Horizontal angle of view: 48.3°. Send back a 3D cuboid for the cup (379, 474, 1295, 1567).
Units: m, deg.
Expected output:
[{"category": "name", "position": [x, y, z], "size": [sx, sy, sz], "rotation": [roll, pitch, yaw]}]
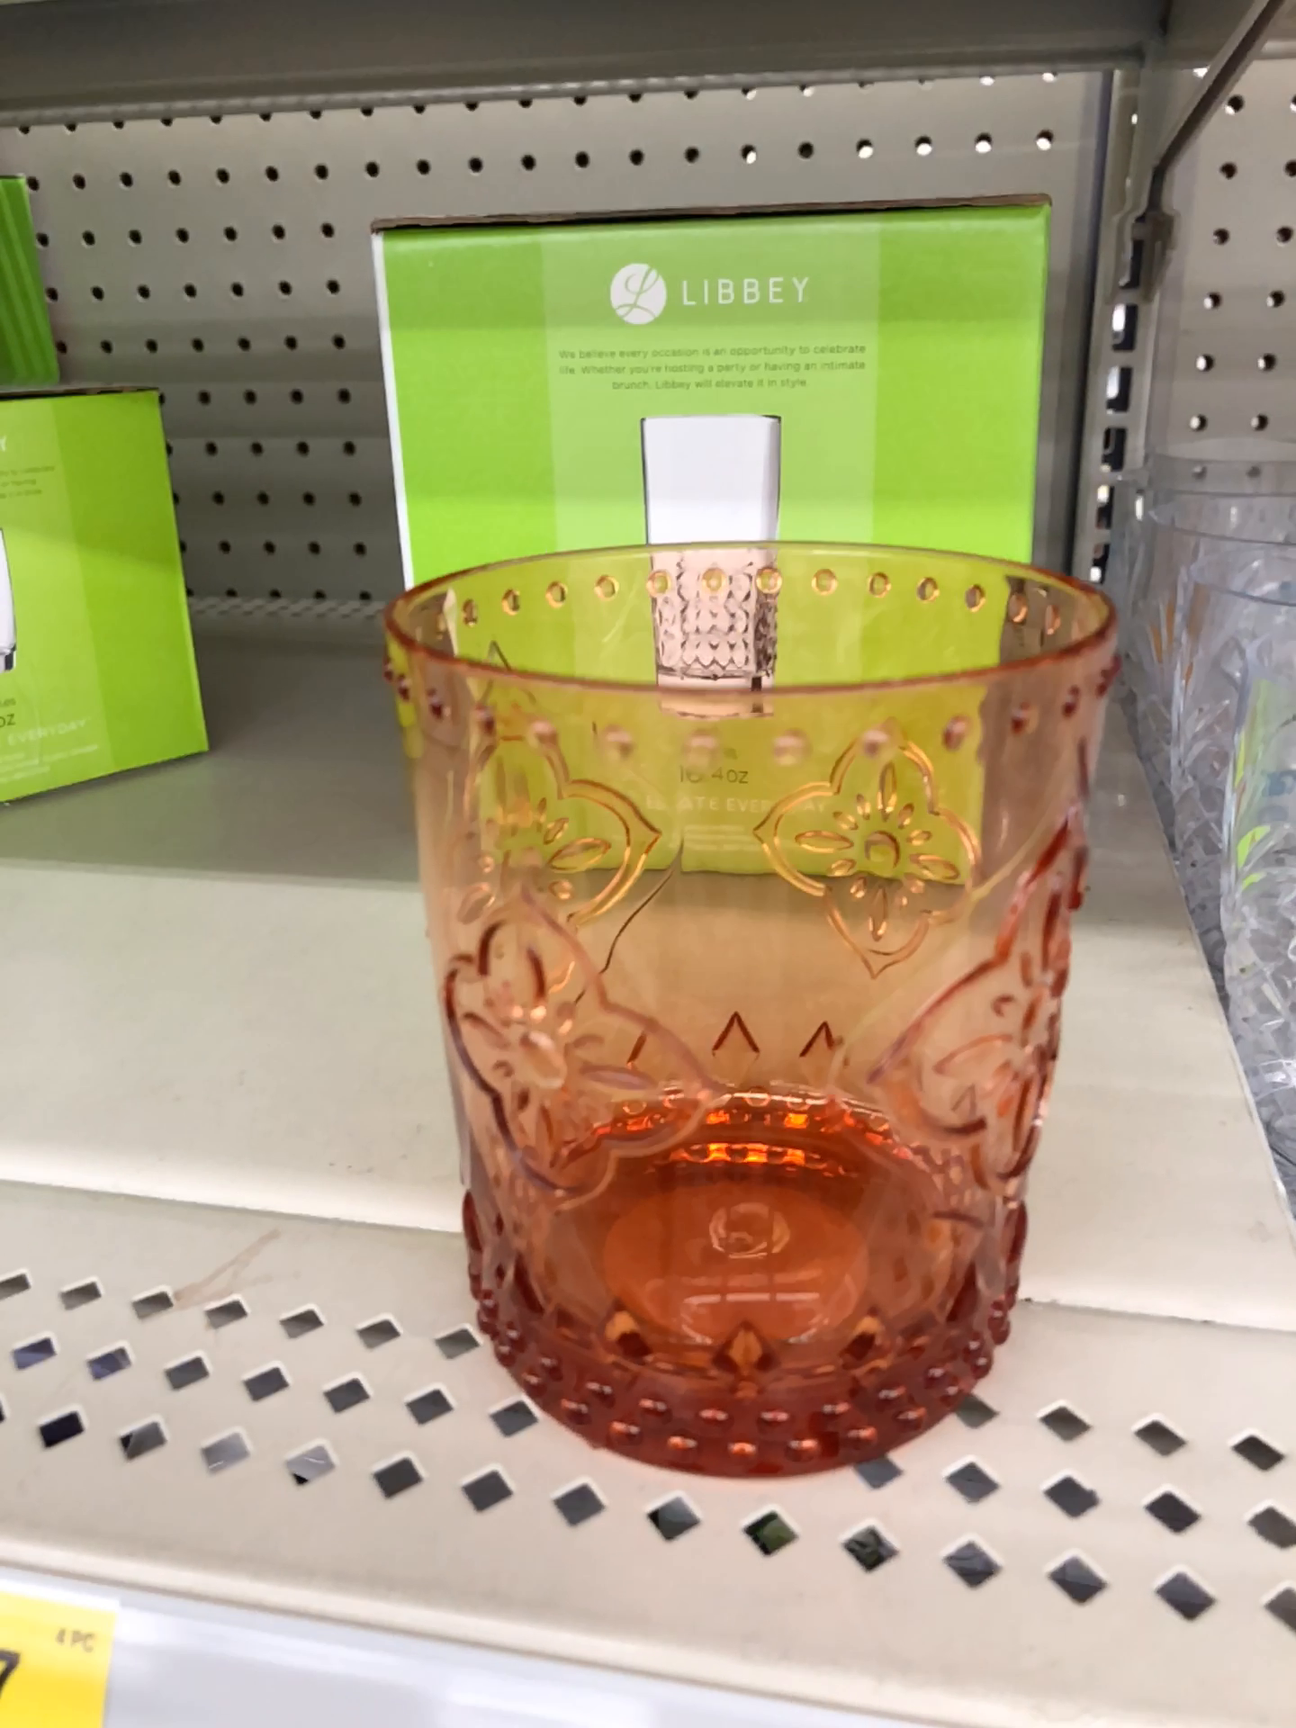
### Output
[{"category": "cup", "position": [0.015, 0.012, 0.190], "size": [0.090, 0.110, 0.080], "rotation": [-5, 22, -9]}]
